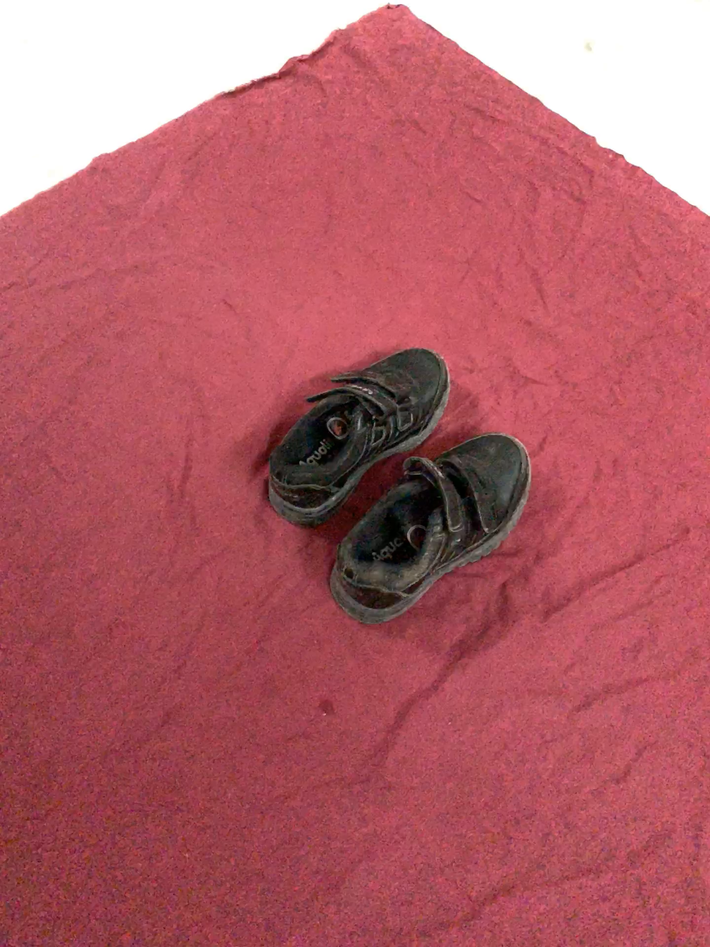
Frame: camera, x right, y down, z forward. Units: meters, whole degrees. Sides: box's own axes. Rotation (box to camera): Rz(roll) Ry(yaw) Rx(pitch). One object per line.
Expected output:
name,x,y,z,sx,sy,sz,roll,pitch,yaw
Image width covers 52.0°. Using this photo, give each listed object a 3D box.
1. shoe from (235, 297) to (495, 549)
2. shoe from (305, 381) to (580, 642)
shoe,0.012,-0.043,0.593,0.210,0.070,0.070,-40,70,-18
shoe,0.068,0.027,0.564,0.210,0.070,0.070,-37,69,-17
